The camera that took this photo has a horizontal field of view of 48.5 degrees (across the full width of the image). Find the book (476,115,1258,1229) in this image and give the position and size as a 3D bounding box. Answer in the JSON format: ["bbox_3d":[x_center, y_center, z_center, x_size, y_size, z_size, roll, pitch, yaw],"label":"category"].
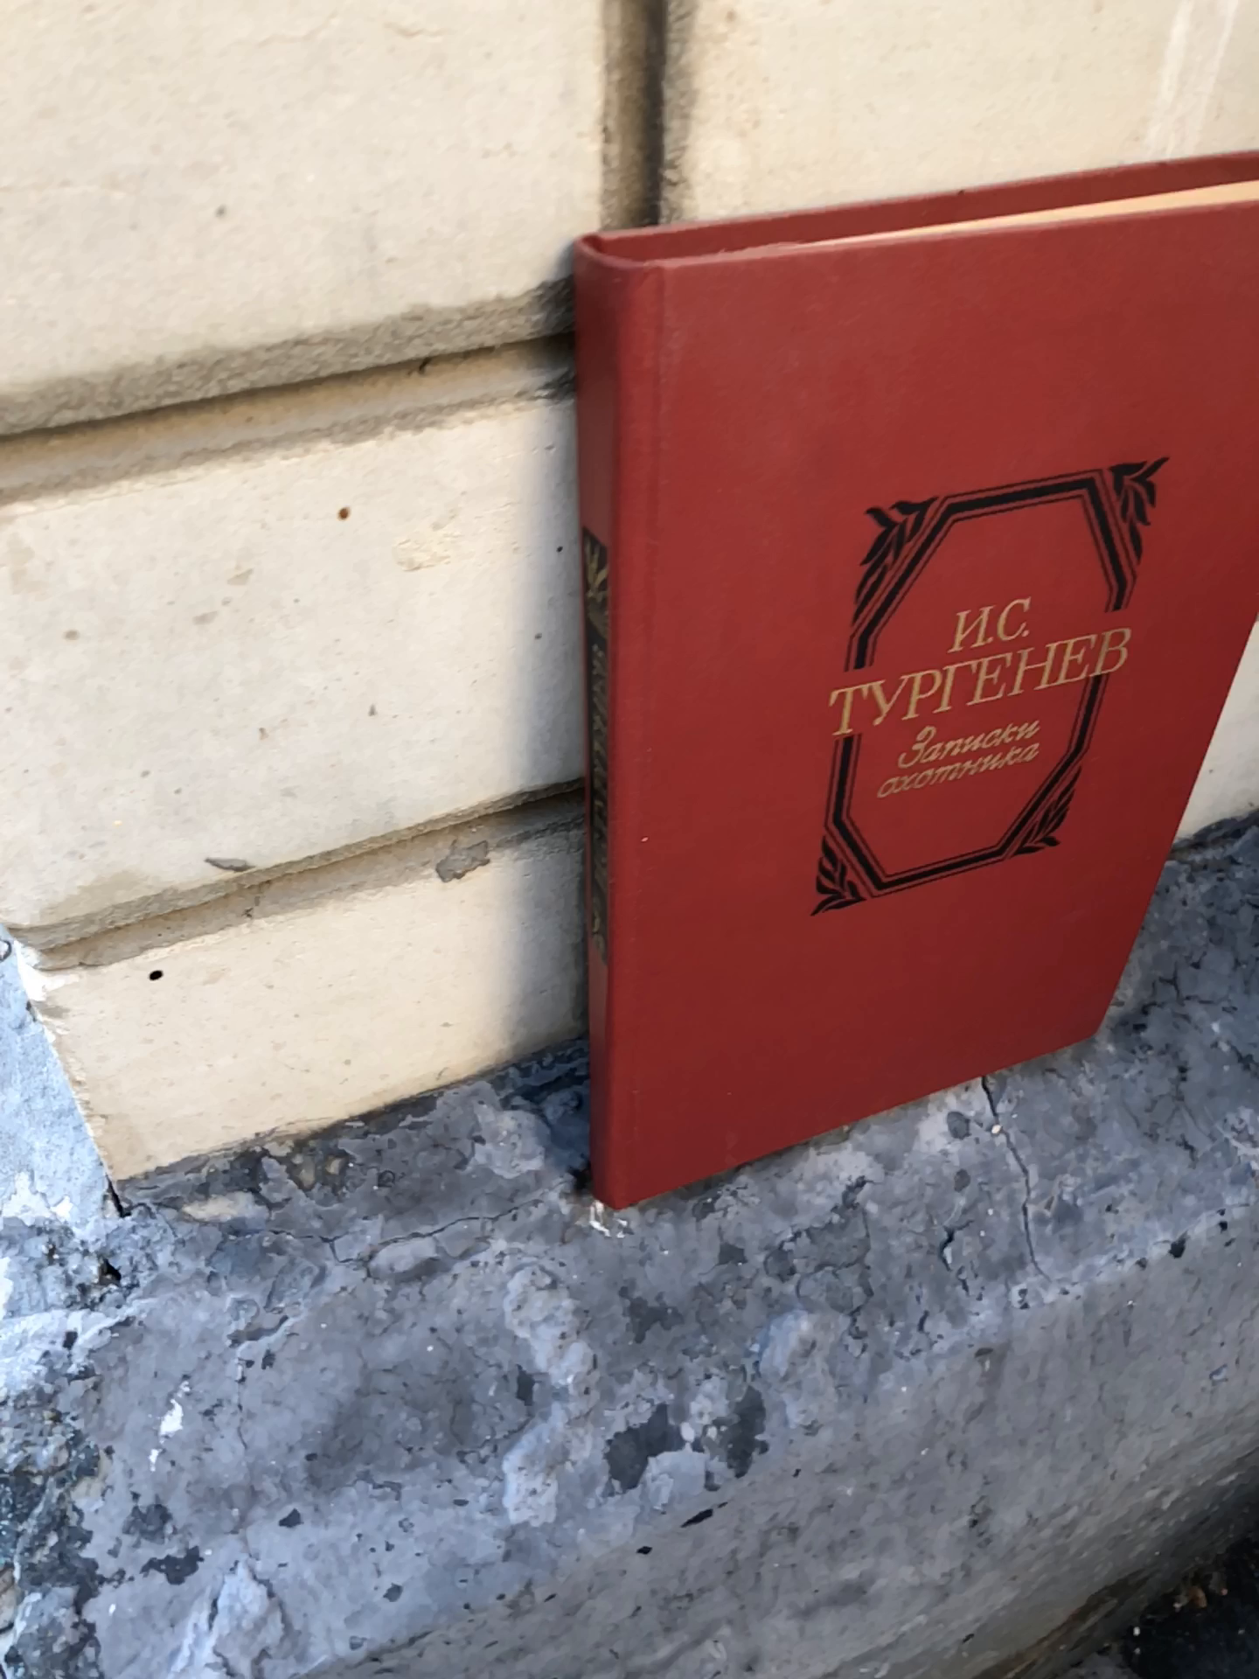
[{"bbox_3d":[0.053,-0.018,0.273,0.147,0.205,0.026,-15,42,-16],"label":"book"}]
